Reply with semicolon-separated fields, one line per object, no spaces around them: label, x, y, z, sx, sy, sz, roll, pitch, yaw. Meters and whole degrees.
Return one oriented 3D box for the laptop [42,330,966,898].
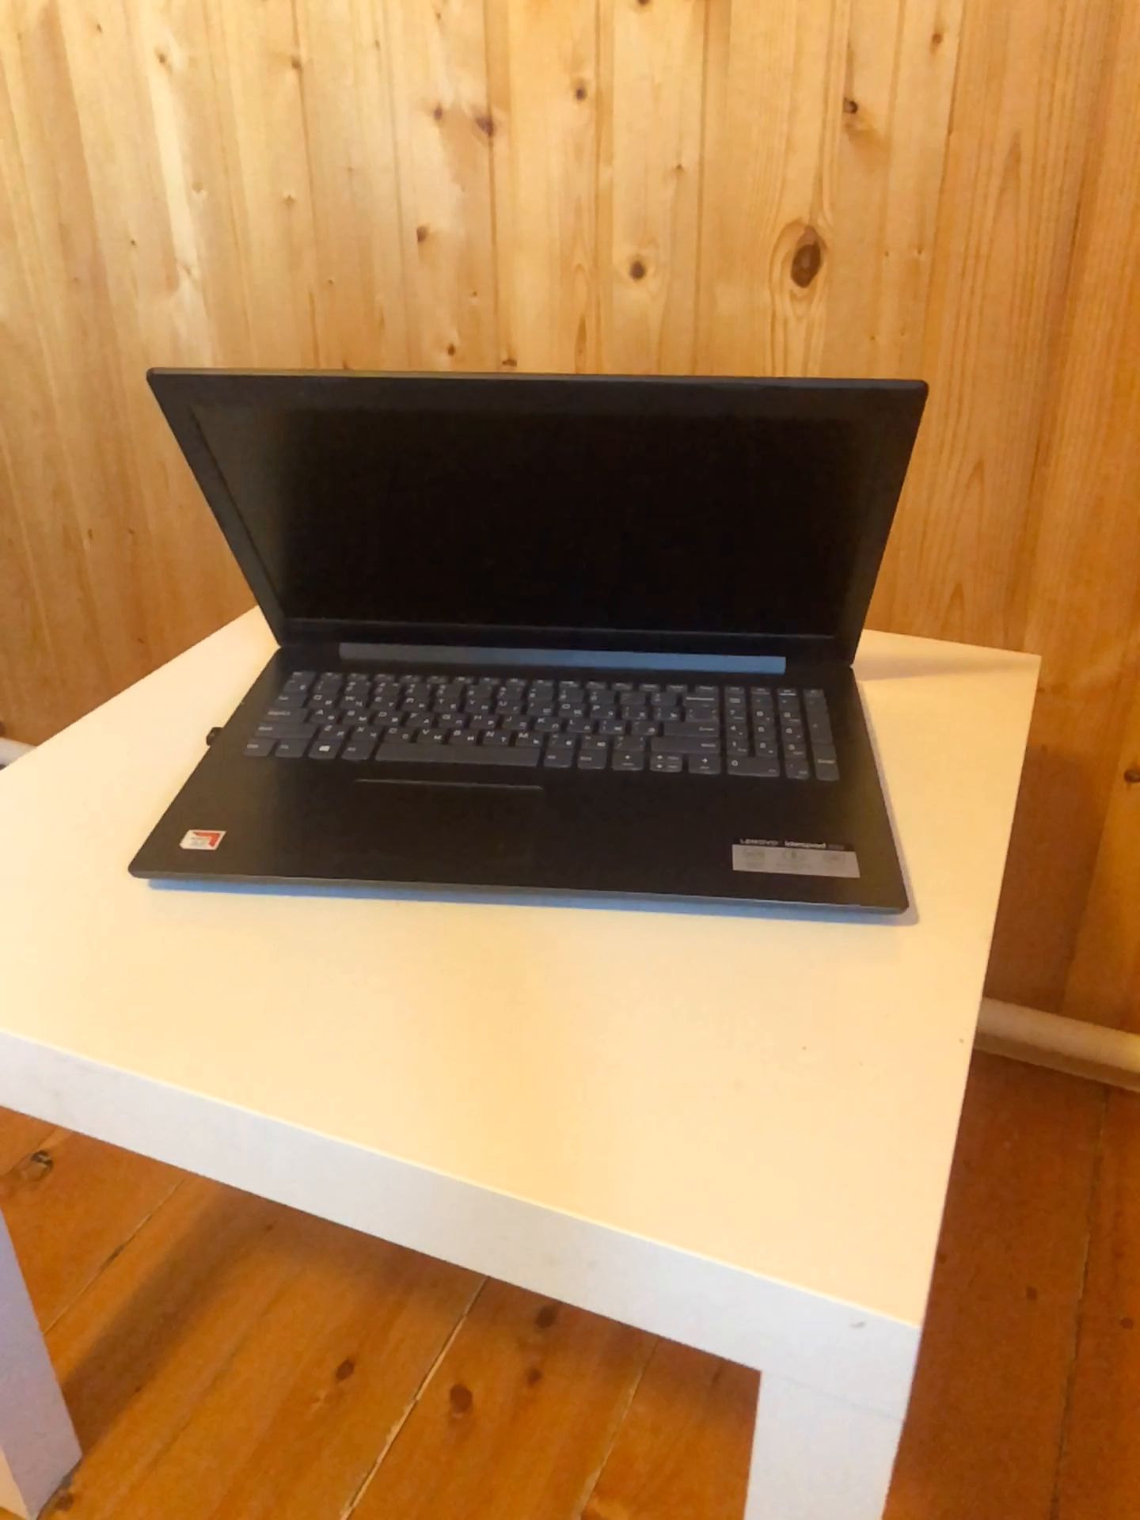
laptop;-0.021;-0.095;0.657;0.372;0.206;0.251;2;29;6
